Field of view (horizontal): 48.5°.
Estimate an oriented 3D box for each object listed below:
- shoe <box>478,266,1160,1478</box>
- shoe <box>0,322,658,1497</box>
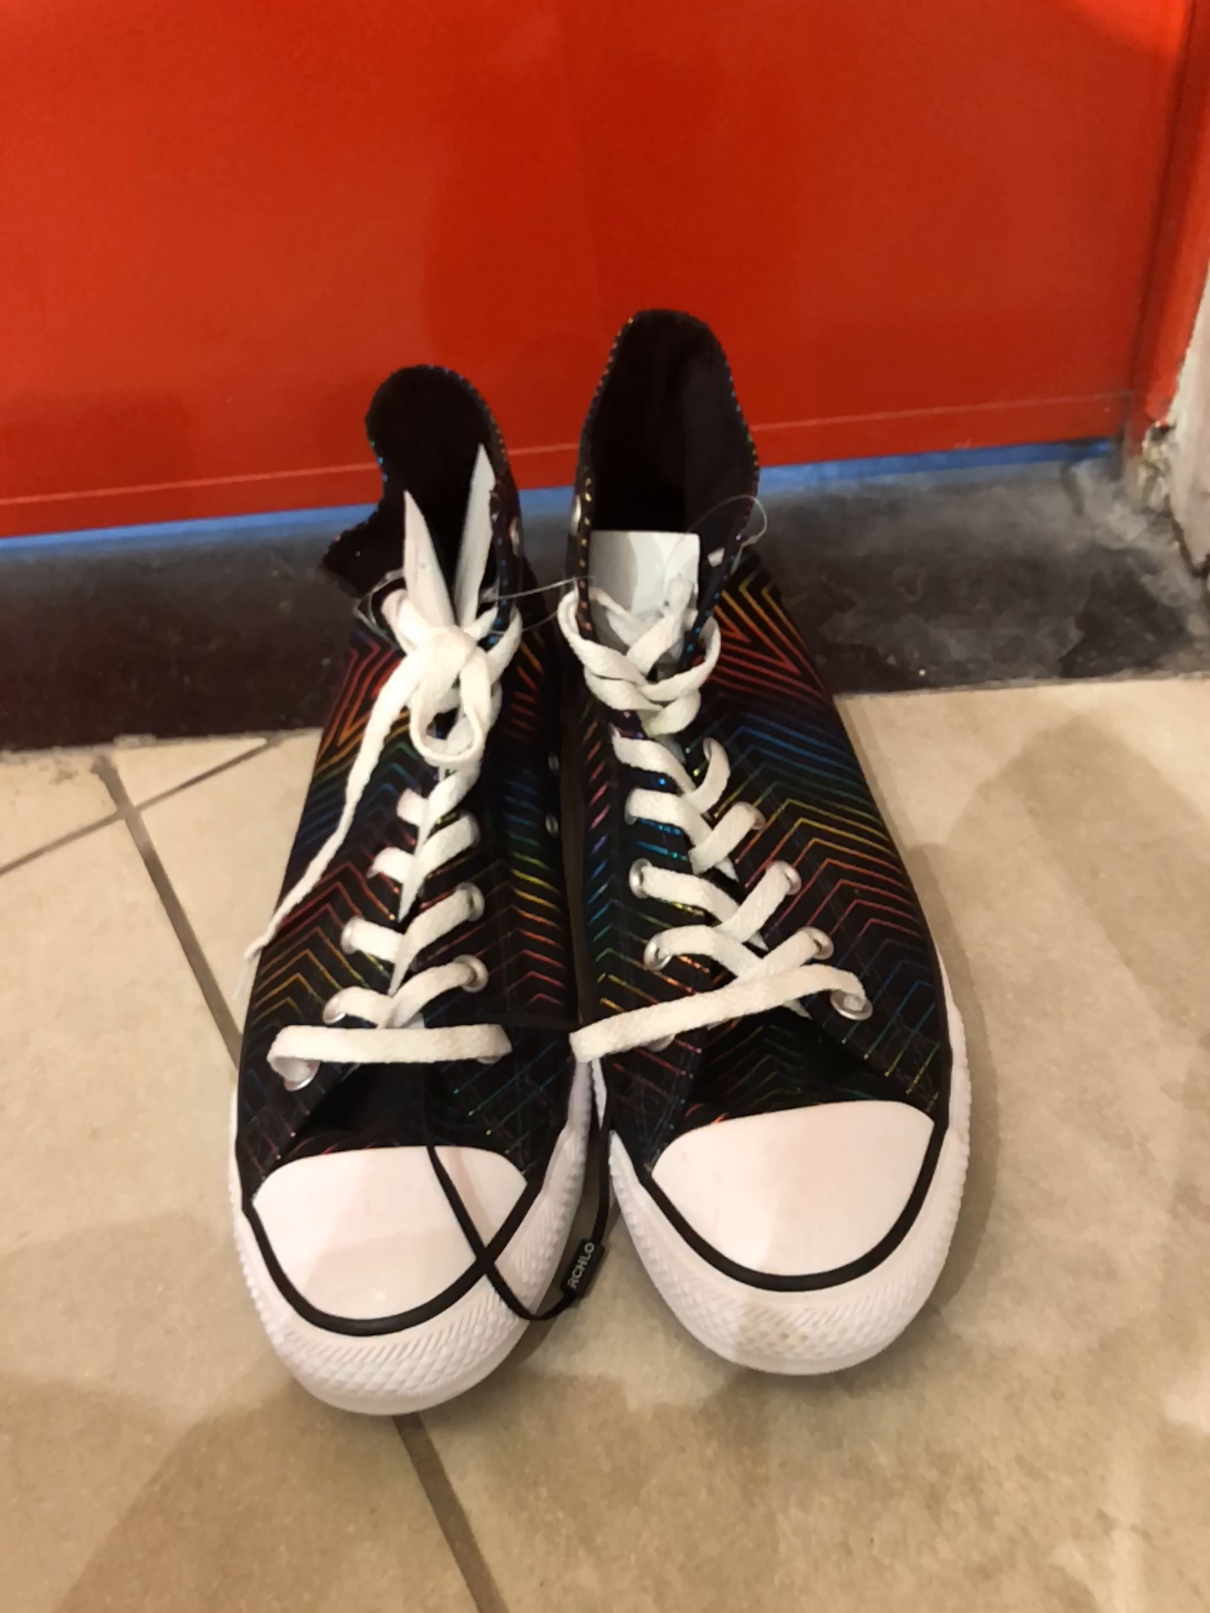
[{"bbox_3d":[0.035,-0.003,0.381,0.110,0.139,0.312,-9,48,3],"label":"shoe"},{"bbox_3d":[-0.055,0.010,0.394,0.110,0.139,0.312,-6,49,5],"label":"shoe"}]
